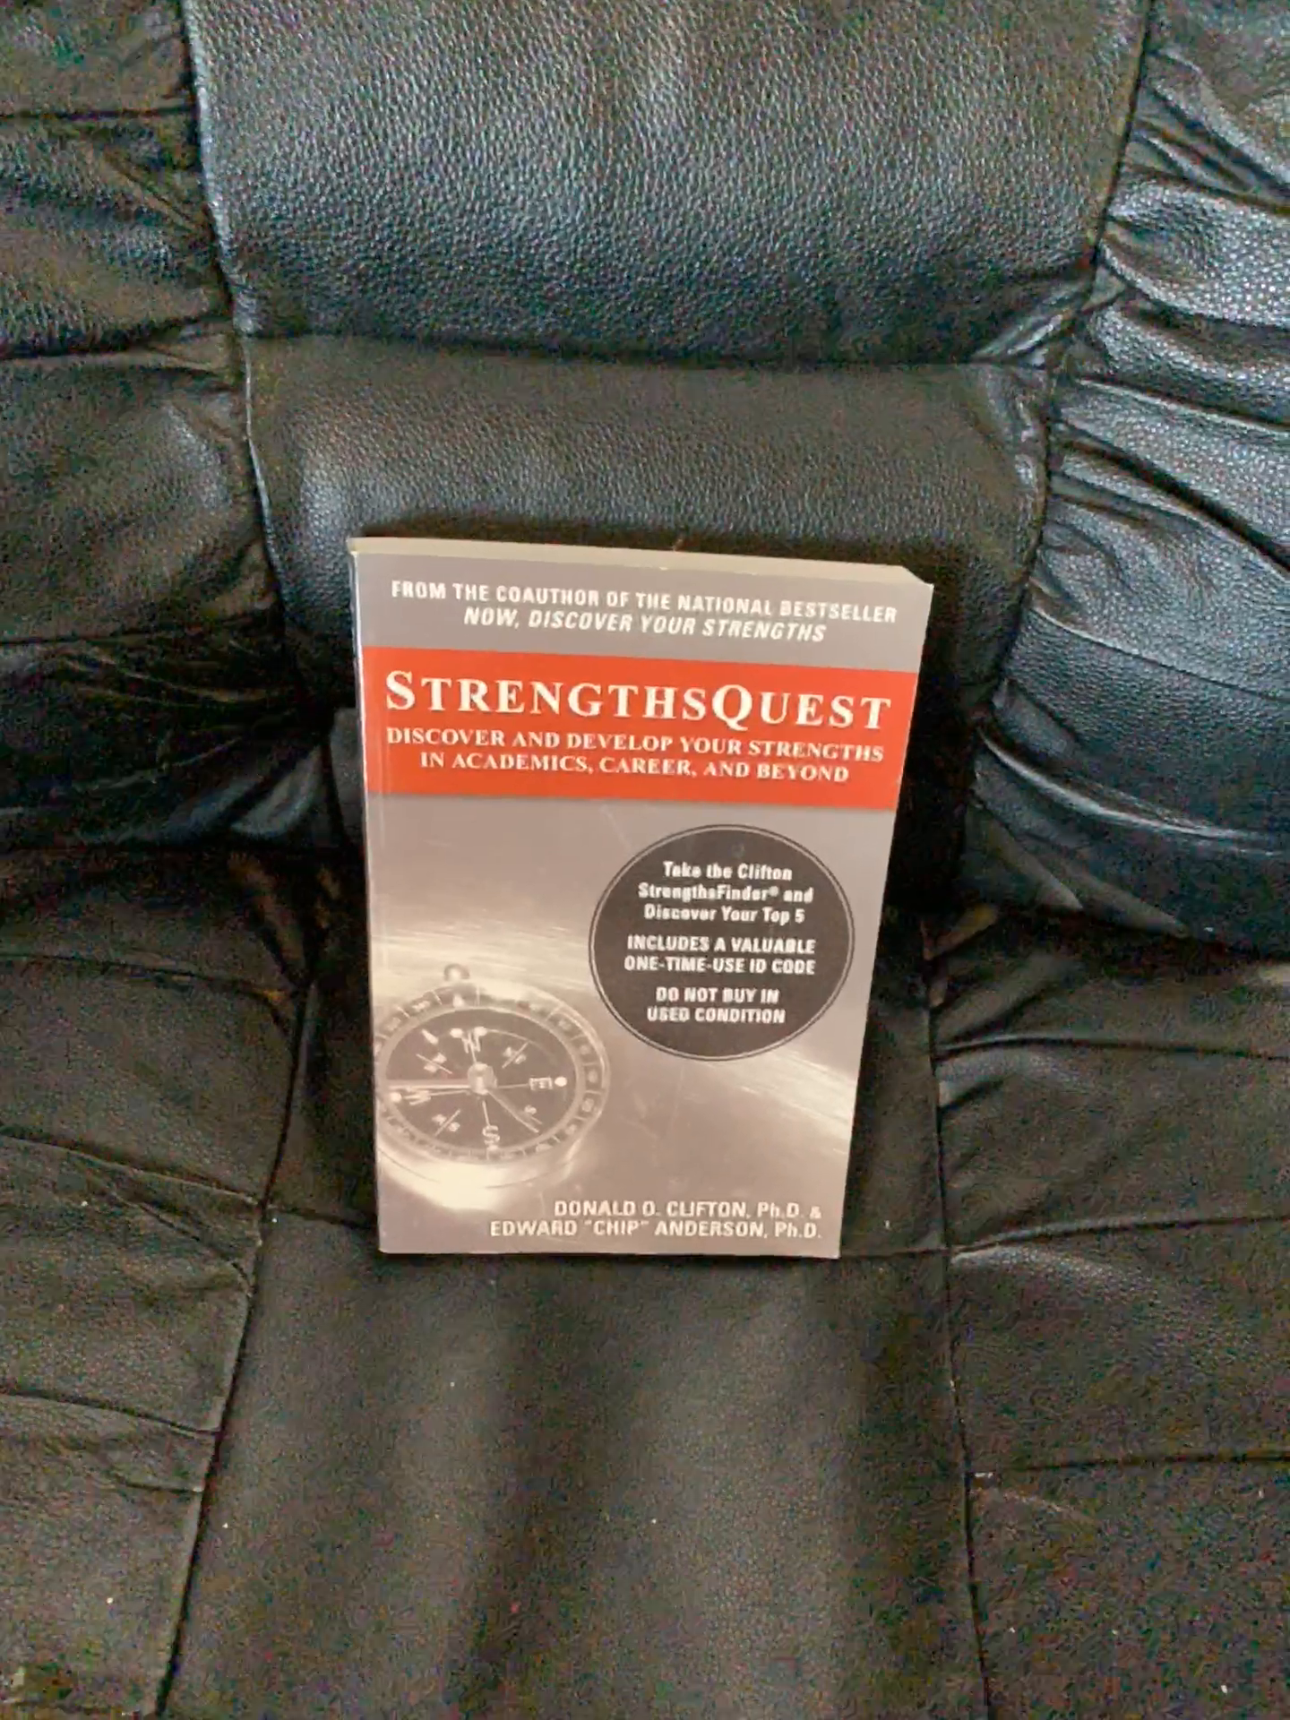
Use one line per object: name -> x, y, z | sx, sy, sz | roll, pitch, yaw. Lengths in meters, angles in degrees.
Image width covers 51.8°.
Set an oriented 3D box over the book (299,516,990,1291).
book -> -0.002, 0.024, 0.392 | 0.170, 0.239, 0.030 | 0, 26, -2
